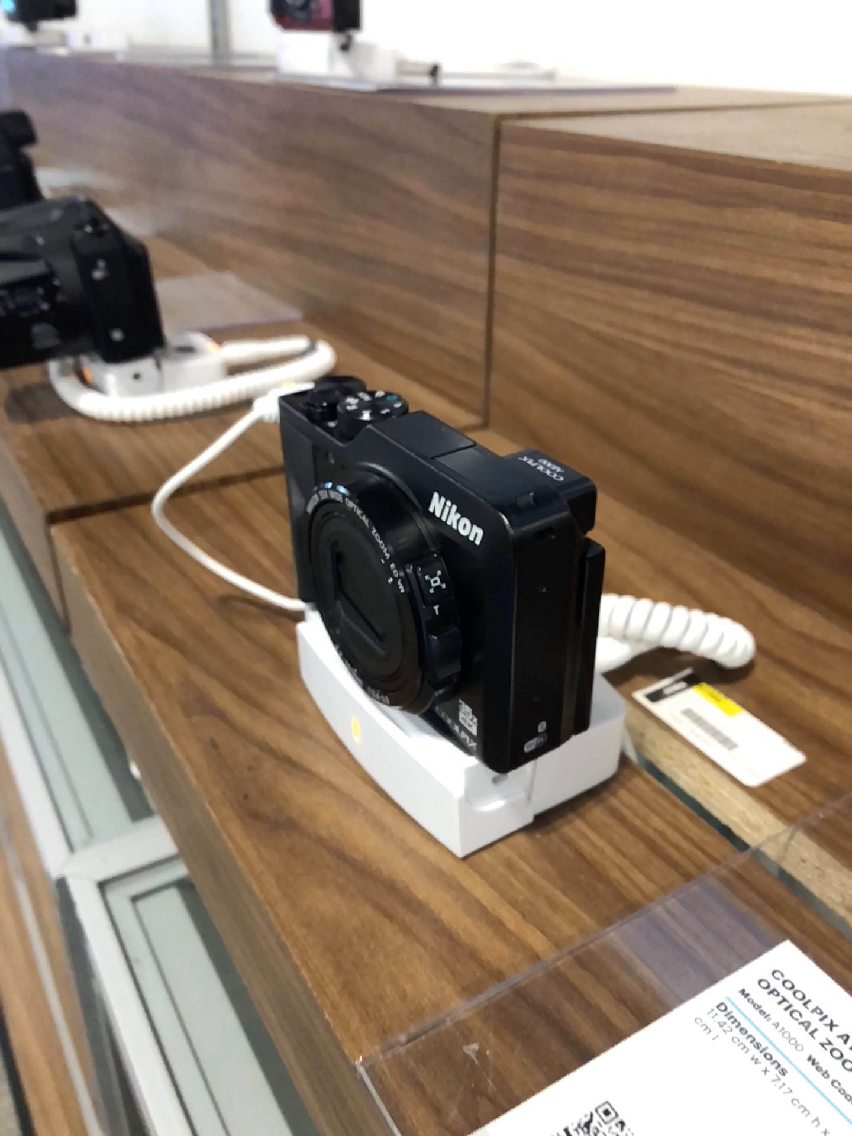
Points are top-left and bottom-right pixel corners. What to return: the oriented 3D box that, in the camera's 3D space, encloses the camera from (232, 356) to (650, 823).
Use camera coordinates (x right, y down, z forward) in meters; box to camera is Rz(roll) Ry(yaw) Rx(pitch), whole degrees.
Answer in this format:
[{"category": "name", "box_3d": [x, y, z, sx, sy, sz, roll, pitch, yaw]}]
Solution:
[{"category": "camera", "box_3d": [-0.004, -0.004, 0.257, 0.050, 0.070, 0.121, -15, 33, -27]}]
